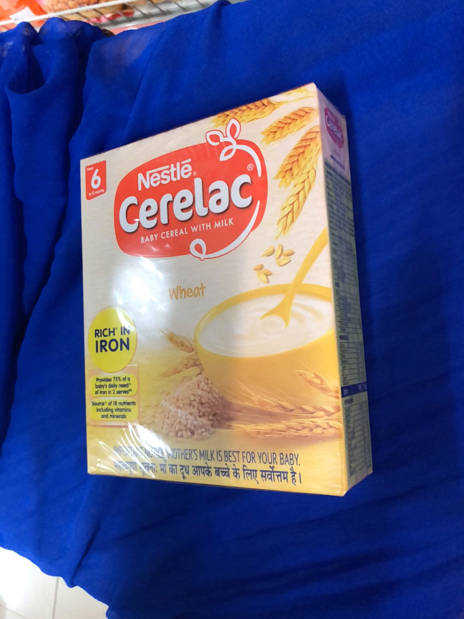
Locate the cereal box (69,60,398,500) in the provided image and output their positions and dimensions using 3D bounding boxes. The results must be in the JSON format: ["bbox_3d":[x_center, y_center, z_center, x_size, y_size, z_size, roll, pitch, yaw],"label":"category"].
[{"bbox_3d":[-0.005,-0.007,0.283,0.160,0.060,0.190,-6,84,26],"label":"cereal box"}]
